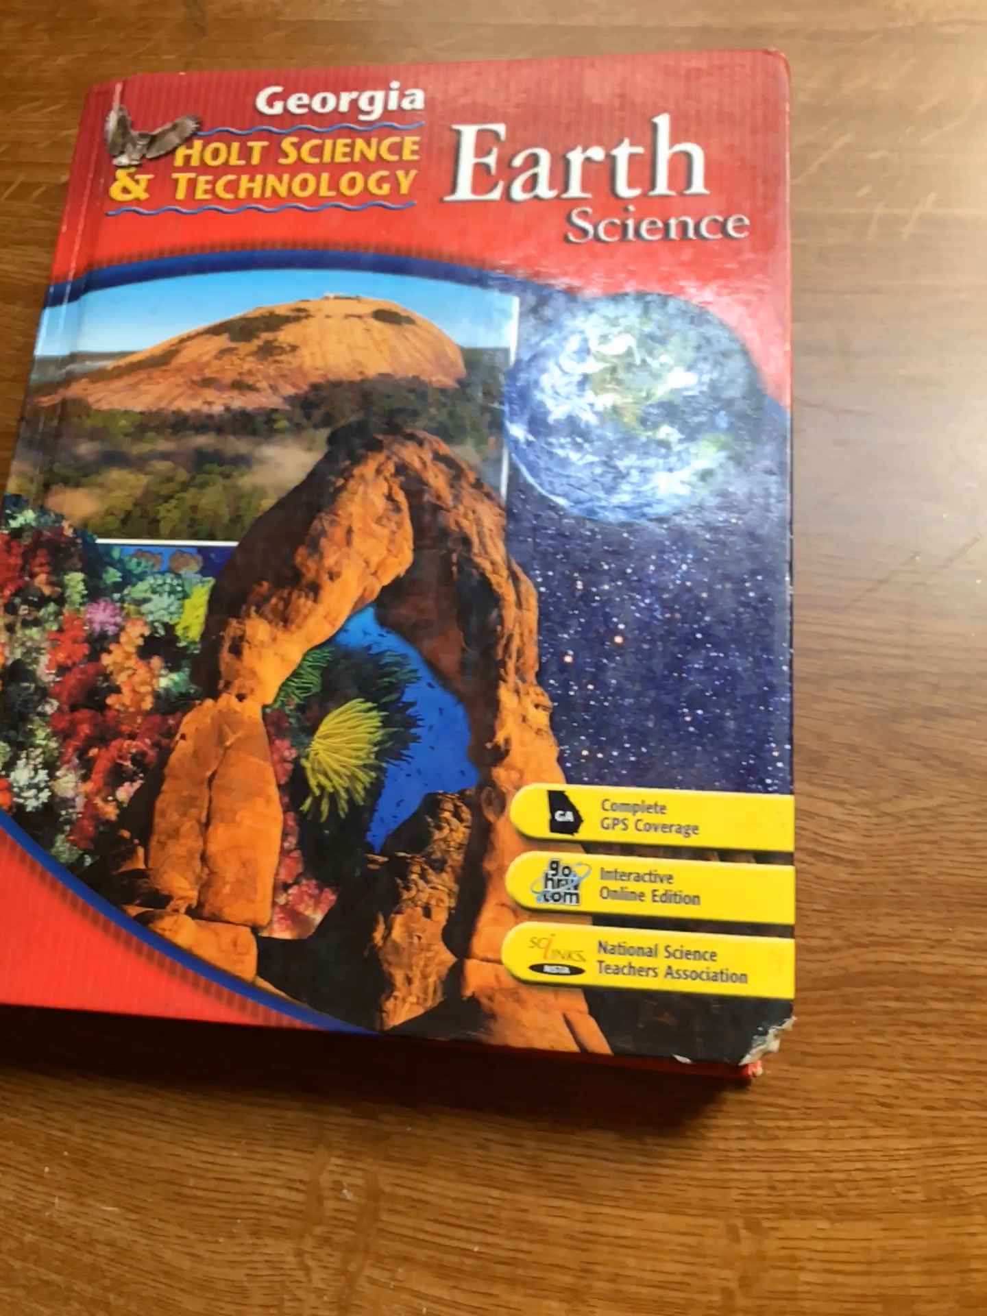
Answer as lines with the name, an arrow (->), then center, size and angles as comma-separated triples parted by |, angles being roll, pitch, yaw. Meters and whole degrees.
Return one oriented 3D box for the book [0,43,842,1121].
book -> -0.024, -0.033, 0.293 | 0.214, 0.050, 0.266 | 2, 74, 8
